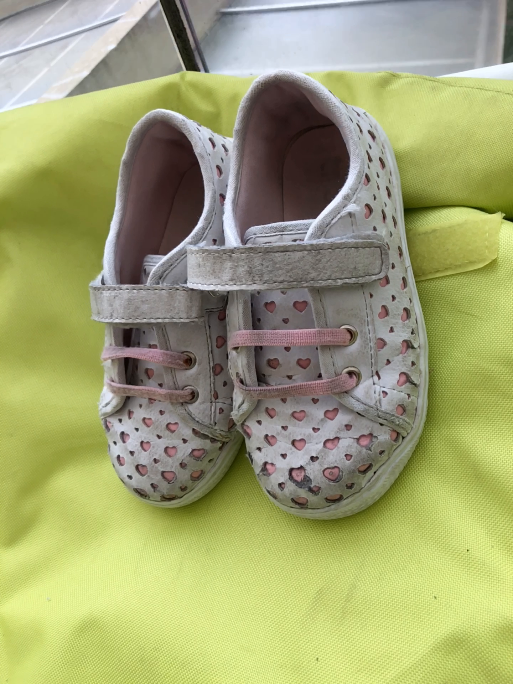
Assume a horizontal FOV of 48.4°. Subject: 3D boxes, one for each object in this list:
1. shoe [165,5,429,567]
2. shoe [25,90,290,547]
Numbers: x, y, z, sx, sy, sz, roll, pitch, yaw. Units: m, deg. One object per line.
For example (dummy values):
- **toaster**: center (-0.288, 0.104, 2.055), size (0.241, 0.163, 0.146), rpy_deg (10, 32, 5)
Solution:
- **shoe**: center (0.020, -0.019, 0.217), size (0.081, 0.060, 0.176), rpy_deg (-1, 82, 22)
- **shoe**: center (-0.044, -0.012, 0.263), size (0.081, 0.060, 0.176), rpy_deg (7, 90, 28)
